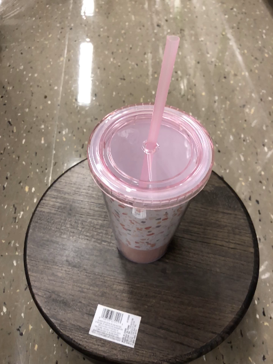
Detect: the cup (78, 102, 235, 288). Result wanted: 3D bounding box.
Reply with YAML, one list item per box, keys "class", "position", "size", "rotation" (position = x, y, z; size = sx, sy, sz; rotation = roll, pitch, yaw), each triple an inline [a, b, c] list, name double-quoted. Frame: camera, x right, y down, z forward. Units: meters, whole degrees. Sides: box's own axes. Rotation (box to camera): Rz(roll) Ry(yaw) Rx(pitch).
- class: "cup"
  position: [0.009, 0.022, 0.285]
  size: [0.090, 0.150, 0.090]
  rotation: [1, 56, -1]
